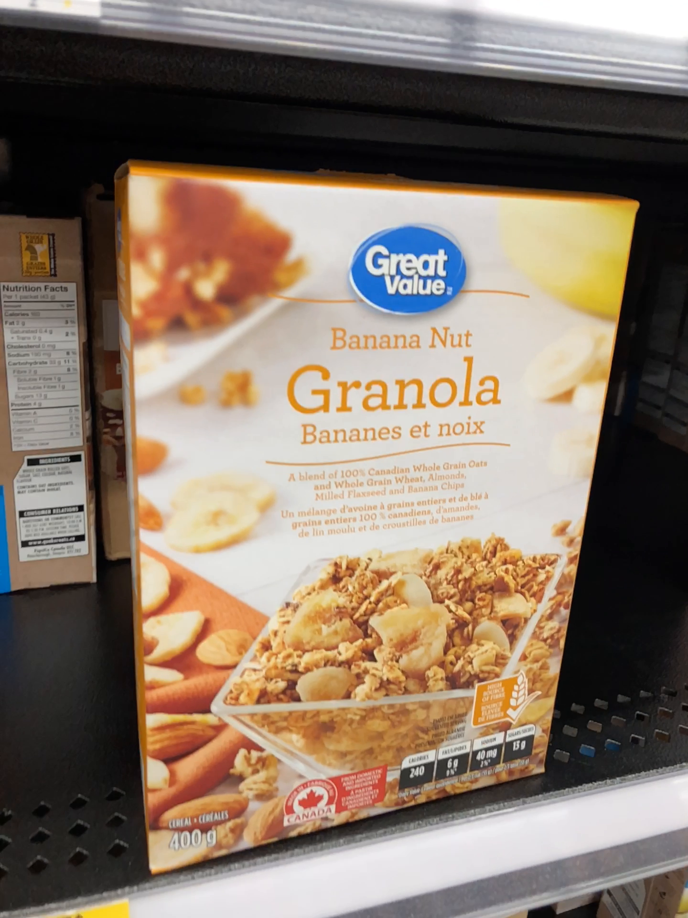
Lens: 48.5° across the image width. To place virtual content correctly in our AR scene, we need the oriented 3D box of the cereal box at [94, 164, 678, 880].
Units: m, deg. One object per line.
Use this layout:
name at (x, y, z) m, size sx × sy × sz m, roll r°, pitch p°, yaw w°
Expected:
cereal box at (0.007, 0.017, 0.257) m, size 0.160 × 0.209 × 0.060 m, roll -4°, pitch 21°, yaw -20°
